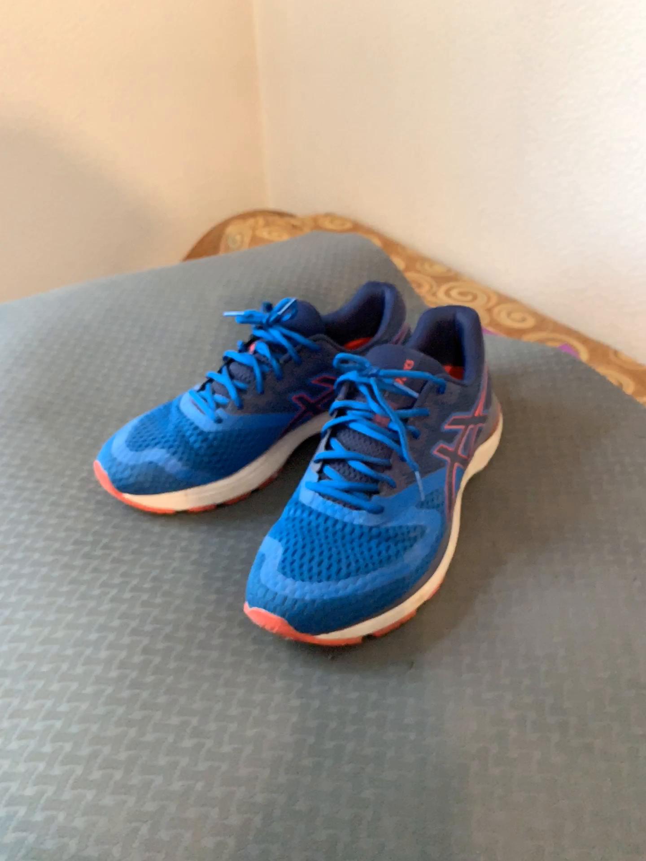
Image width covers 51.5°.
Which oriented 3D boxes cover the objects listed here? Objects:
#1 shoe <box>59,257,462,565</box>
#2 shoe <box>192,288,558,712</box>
[{"bbox_3d":[-0.039,-0.032,0.564,0.300,0.109,0.120,-26,46,-26],"label":"shoe"},{"bbox_3d":[0.056,0.023,0.488,0.120,0.109,0.301,21,45,24],"label":"shoe"}]
